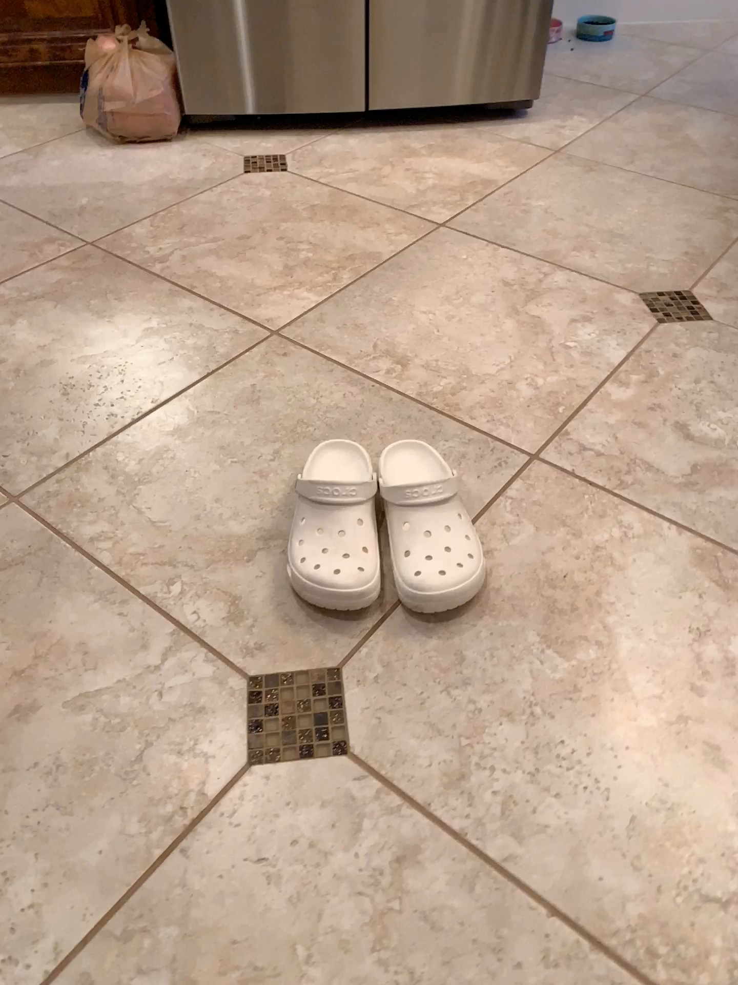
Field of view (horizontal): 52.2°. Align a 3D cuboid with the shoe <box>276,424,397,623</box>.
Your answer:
[{"bbox_3d":[-0.037,0.029,0.923,0.129,0.073,0.262,-1,45,-1],"label":"shoe"}]

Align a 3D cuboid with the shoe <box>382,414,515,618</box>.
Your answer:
[{"bbox_3d":[0.087,0.019,0.918,0.119,0.073,0.262,-3,45,-3],"label":"shoe"}]
